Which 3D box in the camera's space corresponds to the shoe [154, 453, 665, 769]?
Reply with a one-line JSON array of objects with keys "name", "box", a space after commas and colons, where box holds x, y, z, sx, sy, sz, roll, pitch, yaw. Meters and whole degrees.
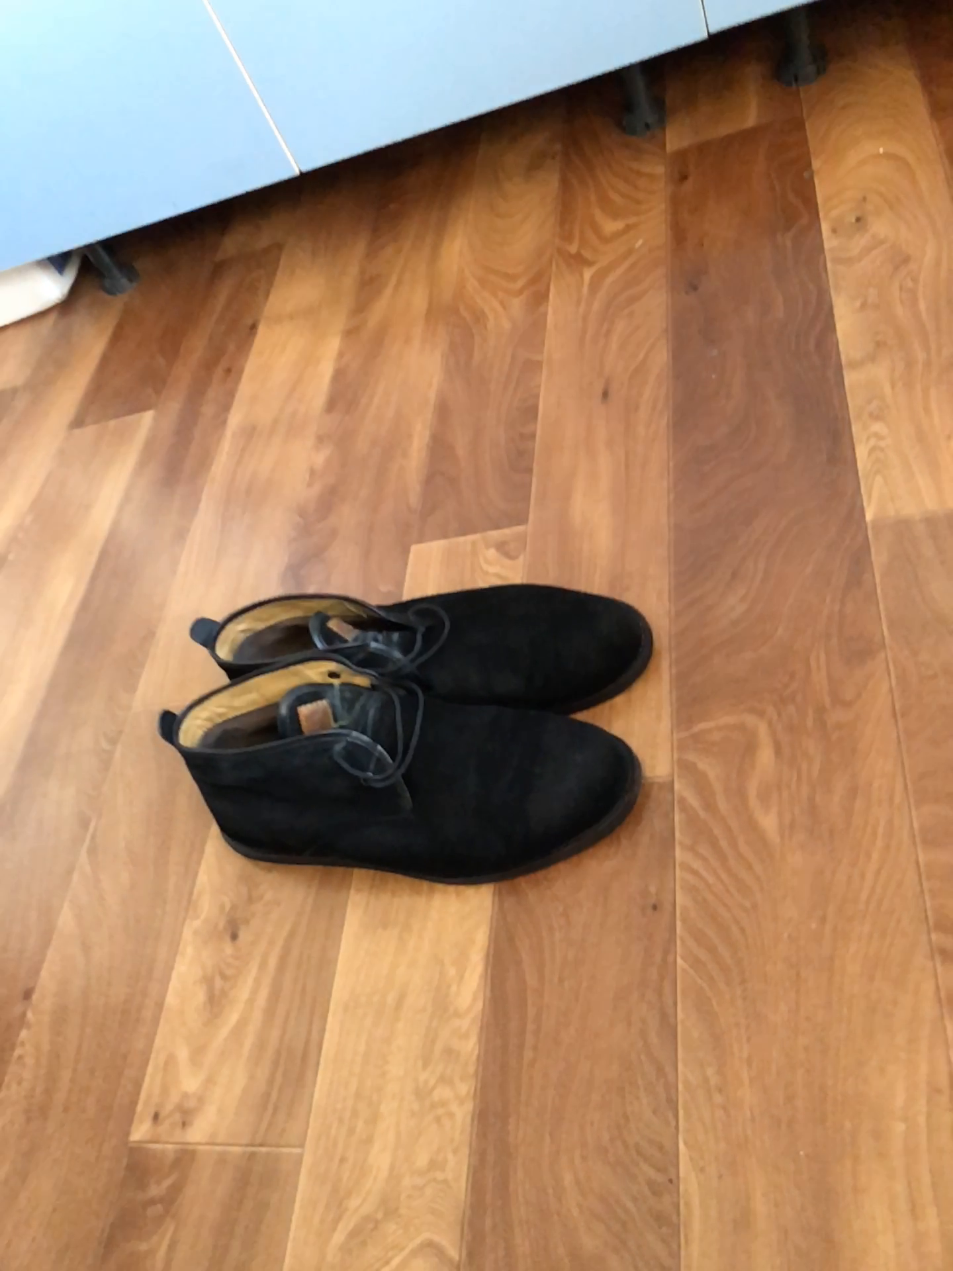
[{"name": "shoe", "box": [-0.037, -0.006, 0.678, 0.290, 0.129, 0.111, -8, 52, 20]}]

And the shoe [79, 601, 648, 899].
[{"name": "shoe", "box": [-0.061, 0.073, 0.618, 0.290, 0.129, 0.111, -4, 54, 23]}]
